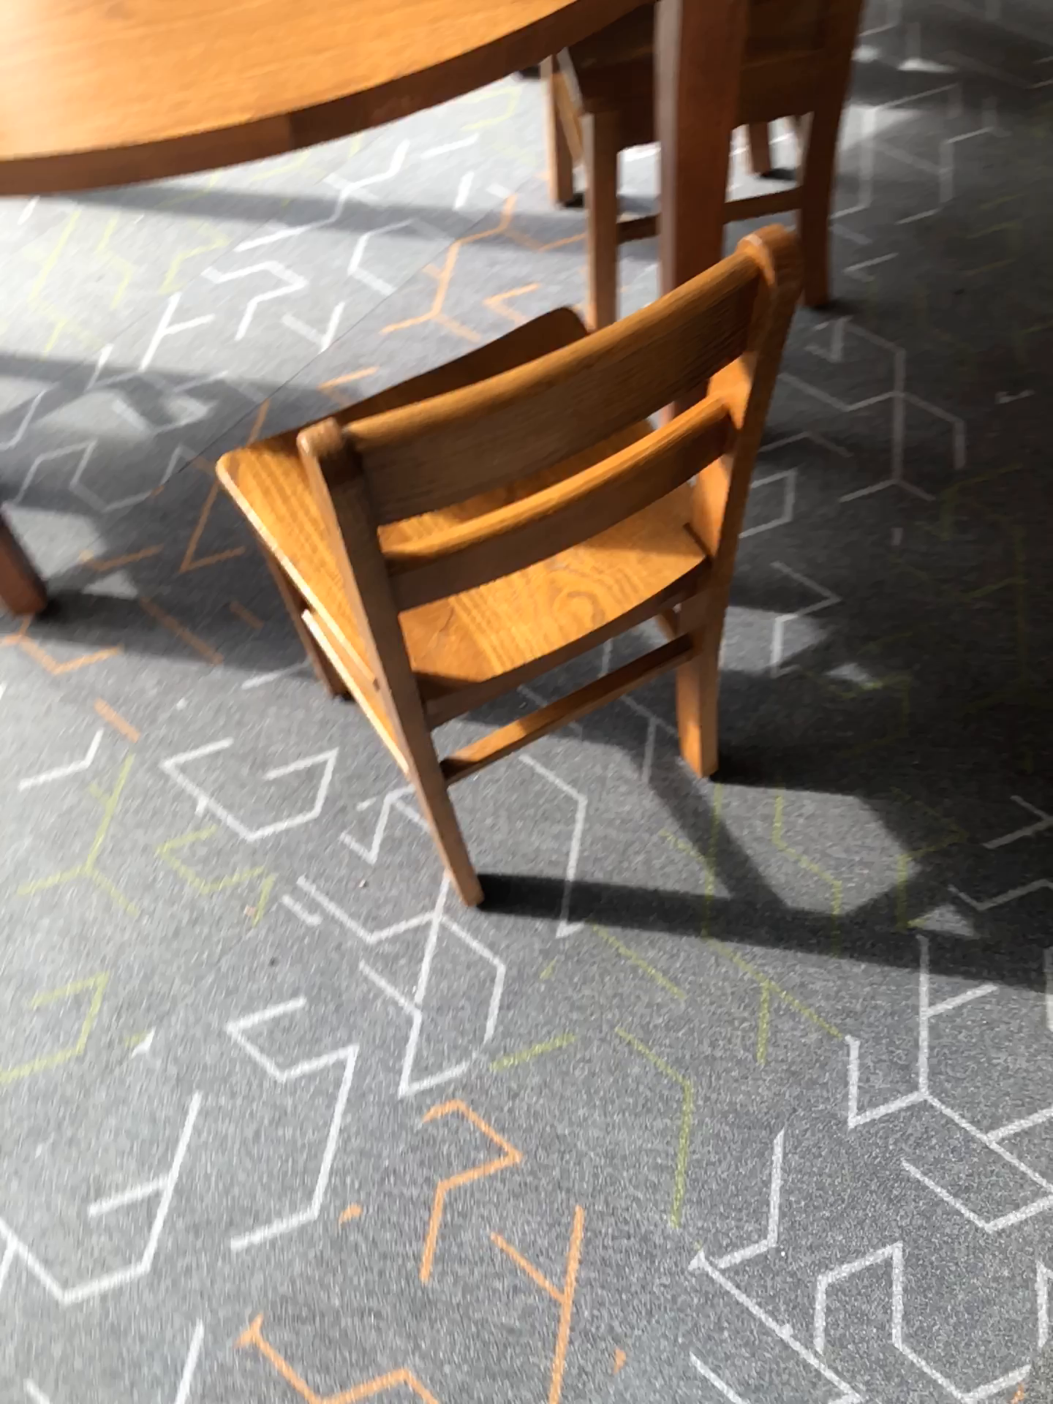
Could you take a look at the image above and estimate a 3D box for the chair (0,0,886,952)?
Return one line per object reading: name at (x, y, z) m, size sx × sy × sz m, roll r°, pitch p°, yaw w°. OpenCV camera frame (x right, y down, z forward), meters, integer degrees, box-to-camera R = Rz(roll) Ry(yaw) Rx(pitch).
chair at (-0.049, -0.155, 0.944) m, size 0.370 × 0.667 × 0.392 m, roll -29°, pitch 62°, yaw -12°
